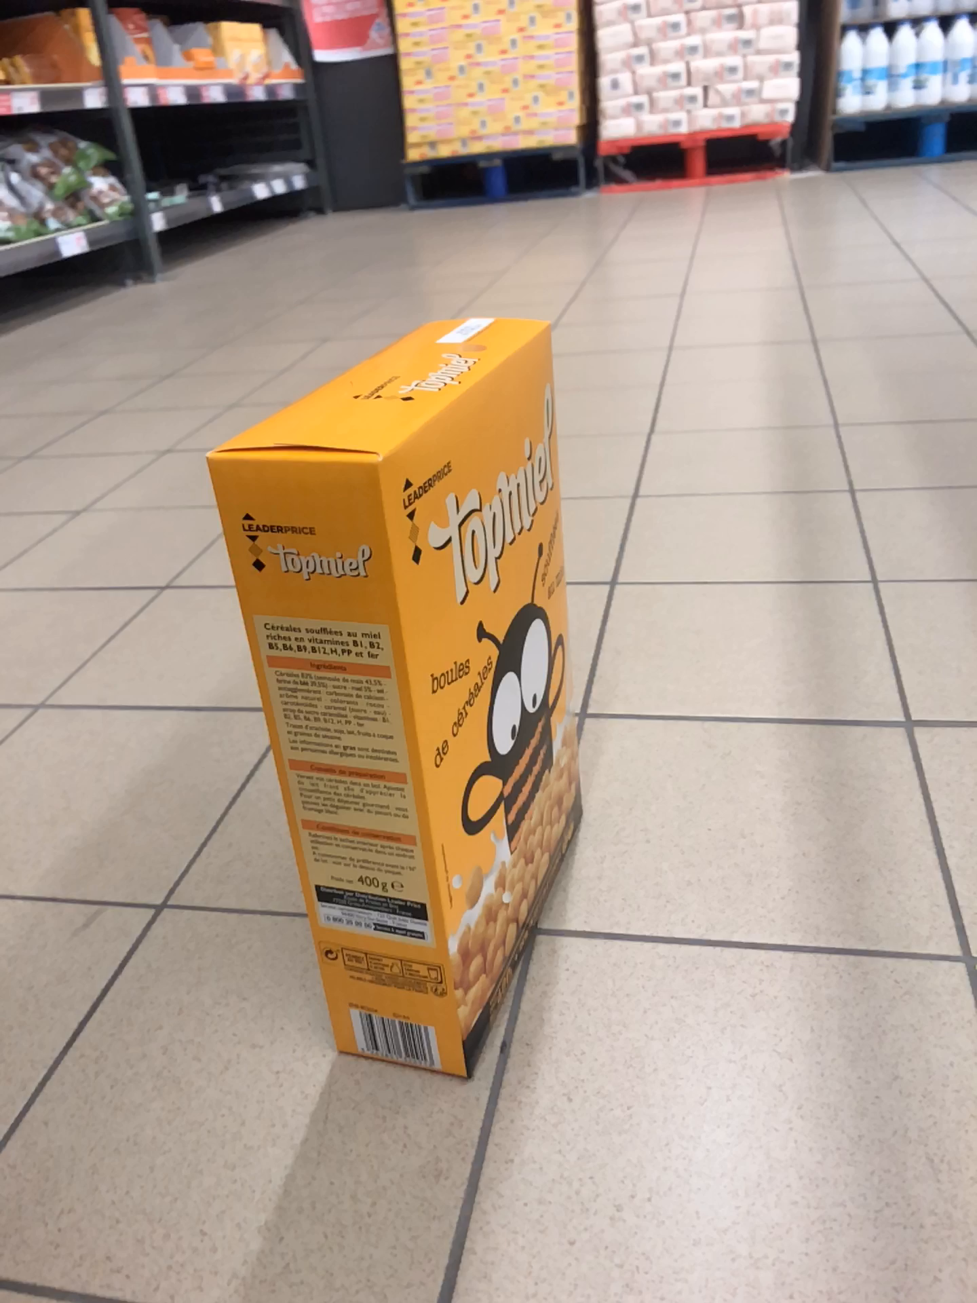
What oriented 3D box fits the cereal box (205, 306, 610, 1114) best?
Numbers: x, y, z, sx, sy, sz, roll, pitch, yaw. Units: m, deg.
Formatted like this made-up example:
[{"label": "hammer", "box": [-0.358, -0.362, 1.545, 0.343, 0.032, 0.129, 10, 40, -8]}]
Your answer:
[{"label": "cereal box", "box": [-0.009, 0.012, 0.460, 0.060, 0.269, 0.211, 5, 28, 20]}]
